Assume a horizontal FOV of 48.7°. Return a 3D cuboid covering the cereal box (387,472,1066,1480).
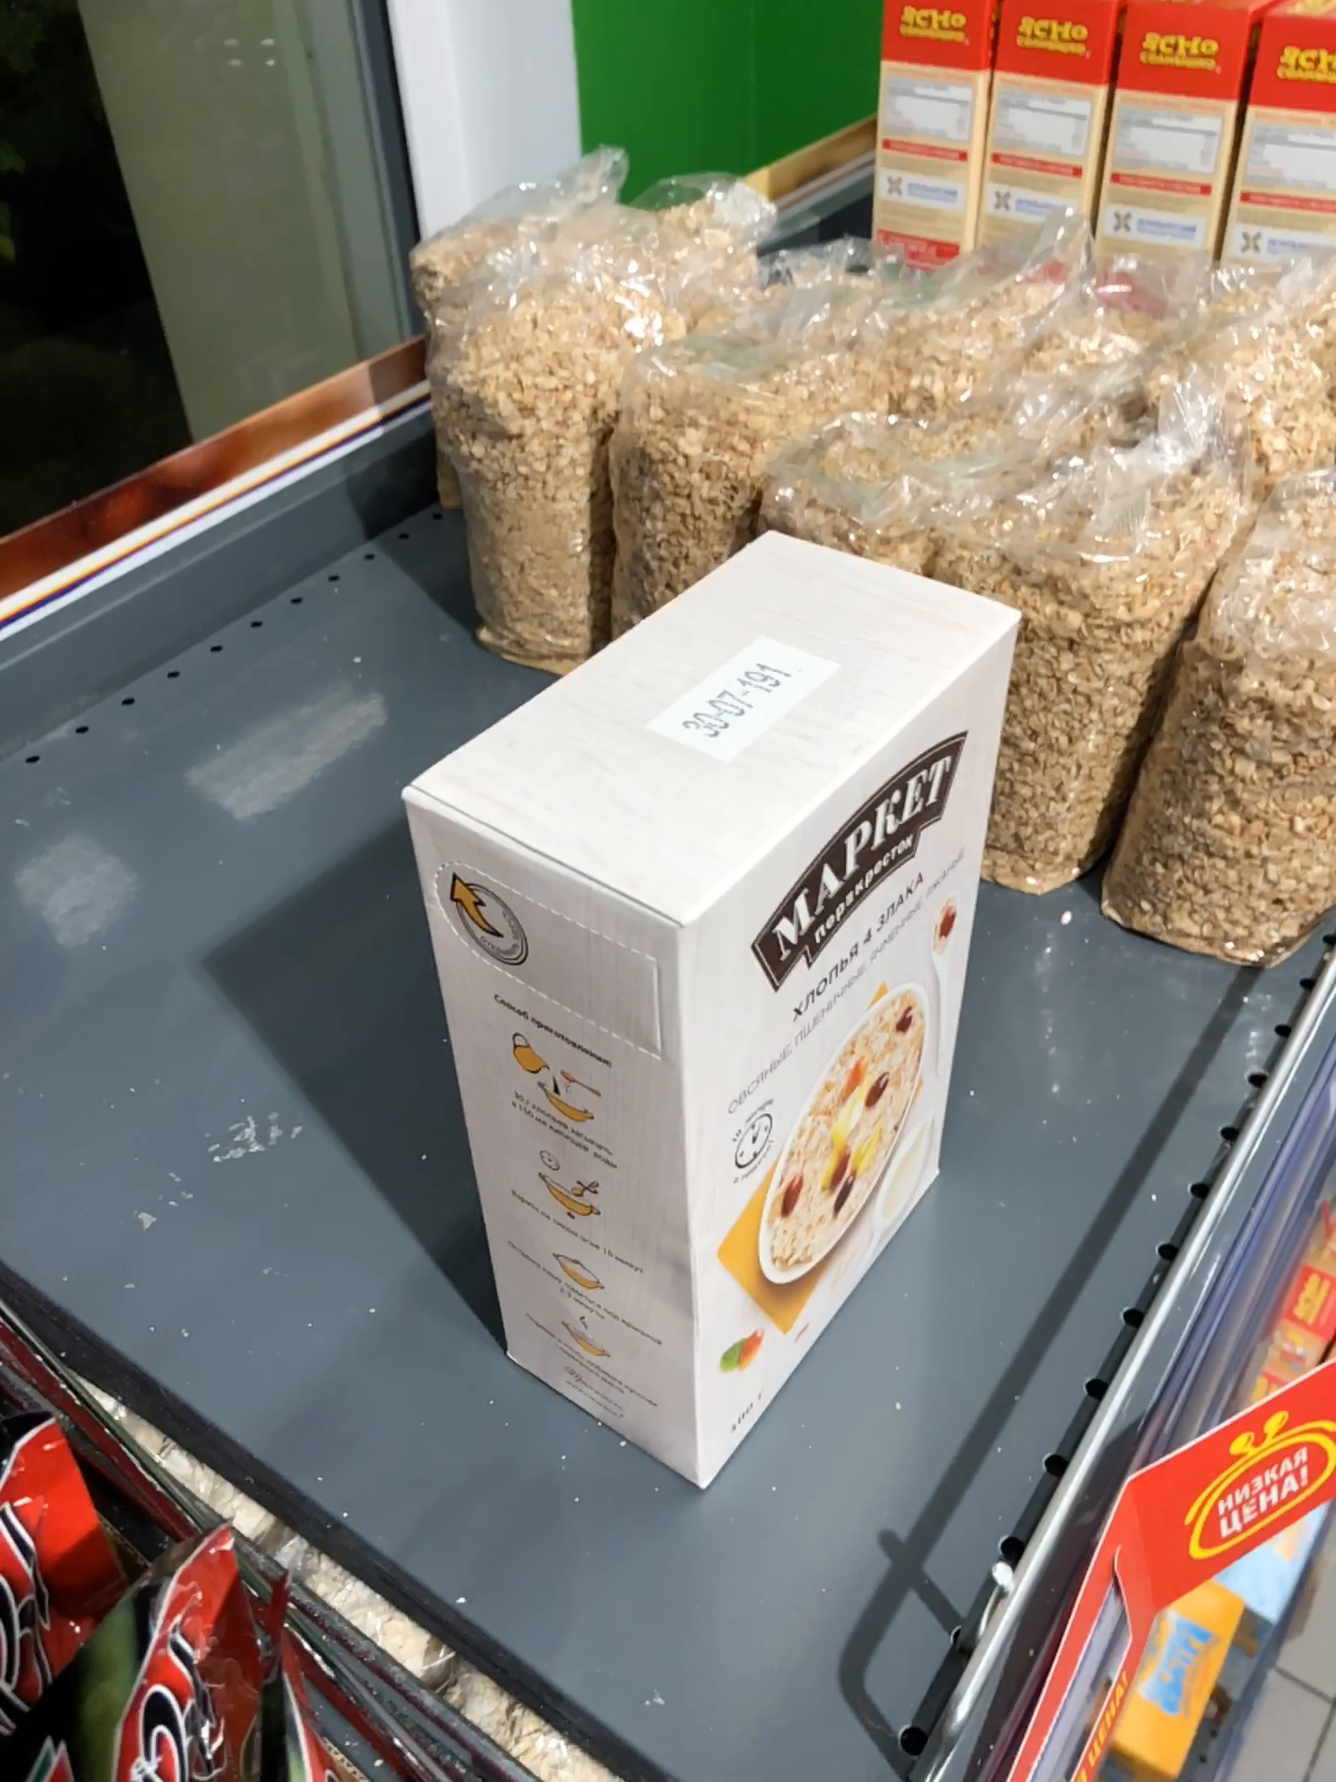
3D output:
[{"bbox_3d":[0.020,0.023,0.350,0.070,0.189,0.131,25,48,28],"label":"cereal box"}]
